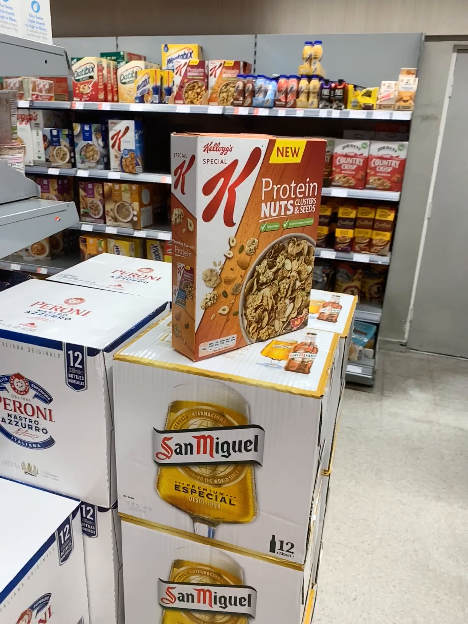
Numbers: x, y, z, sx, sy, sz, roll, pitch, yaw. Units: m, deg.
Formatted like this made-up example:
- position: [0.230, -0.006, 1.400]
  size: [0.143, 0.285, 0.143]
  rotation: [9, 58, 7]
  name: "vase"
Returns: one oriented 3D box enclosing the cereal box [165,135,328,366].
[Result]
- position: [0.016, -0.078, 0.563]
  size: [0.191, 0.238, 0.050]
  rotation: [-14, 25, -37]
  name: "cereal box"
